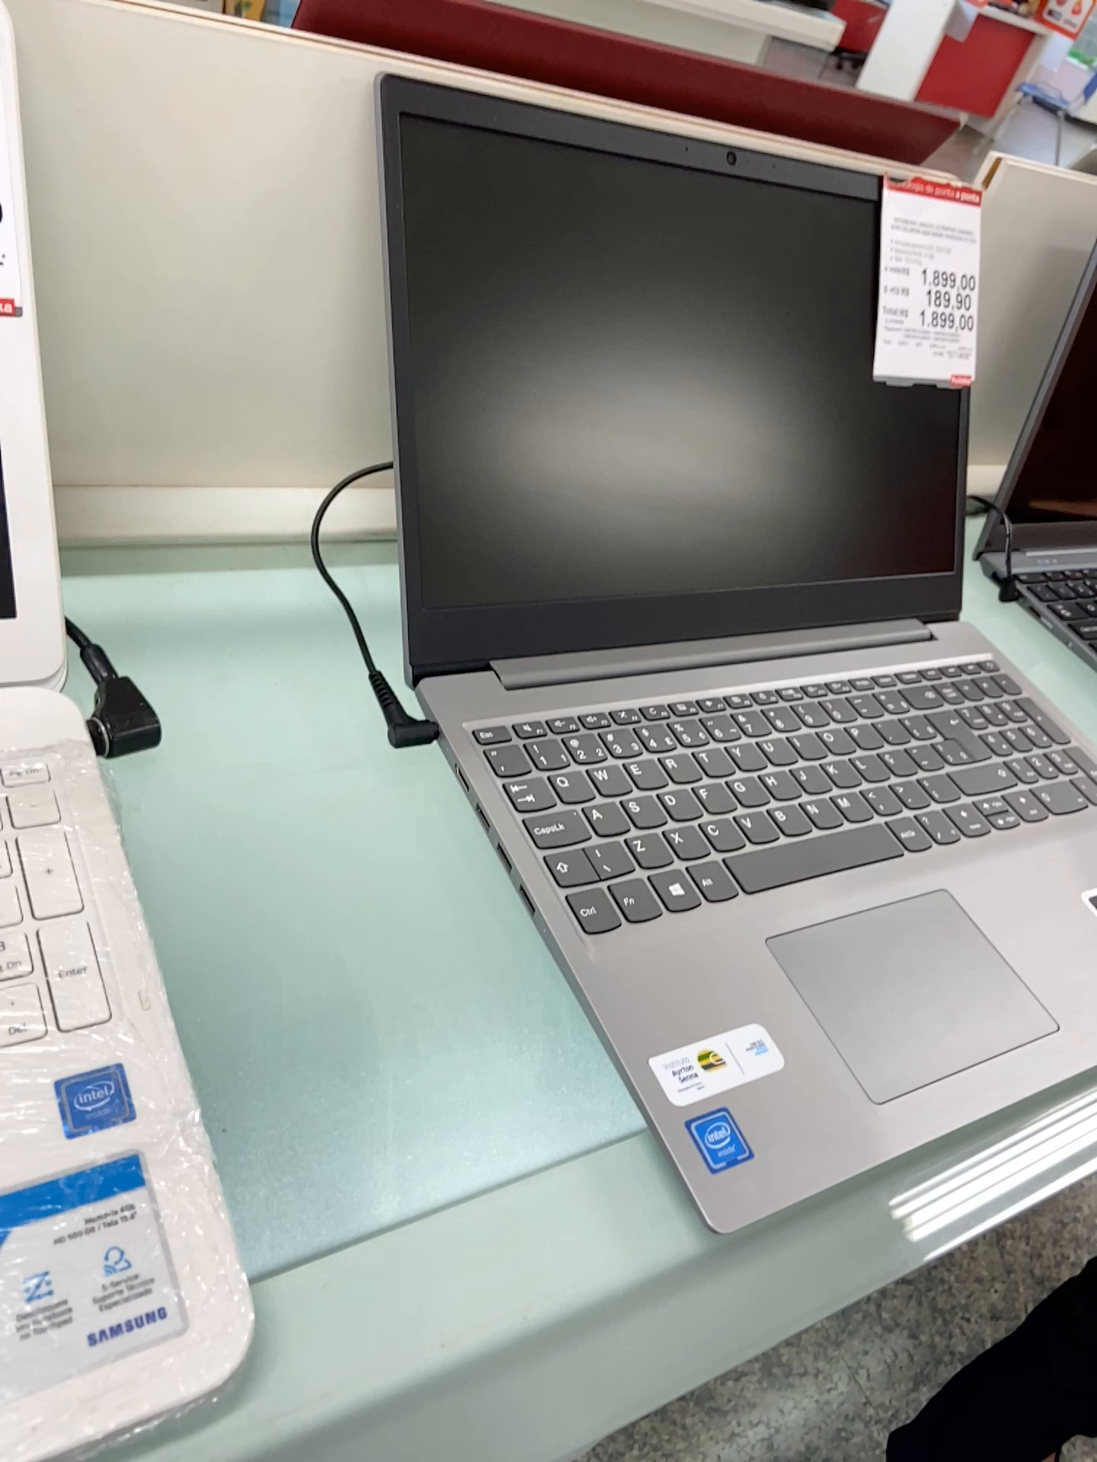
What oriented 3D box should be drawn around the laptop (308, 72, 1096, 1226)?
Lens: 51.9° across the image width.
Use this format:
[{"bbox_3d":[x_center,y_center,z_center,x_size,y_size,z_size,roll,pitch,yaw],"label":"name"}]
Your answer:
[{"bbox_3d":[0.149,-0.078,0.495,0.368,0.189,0.402,-8,49,-31],"label":"laptop"}]
